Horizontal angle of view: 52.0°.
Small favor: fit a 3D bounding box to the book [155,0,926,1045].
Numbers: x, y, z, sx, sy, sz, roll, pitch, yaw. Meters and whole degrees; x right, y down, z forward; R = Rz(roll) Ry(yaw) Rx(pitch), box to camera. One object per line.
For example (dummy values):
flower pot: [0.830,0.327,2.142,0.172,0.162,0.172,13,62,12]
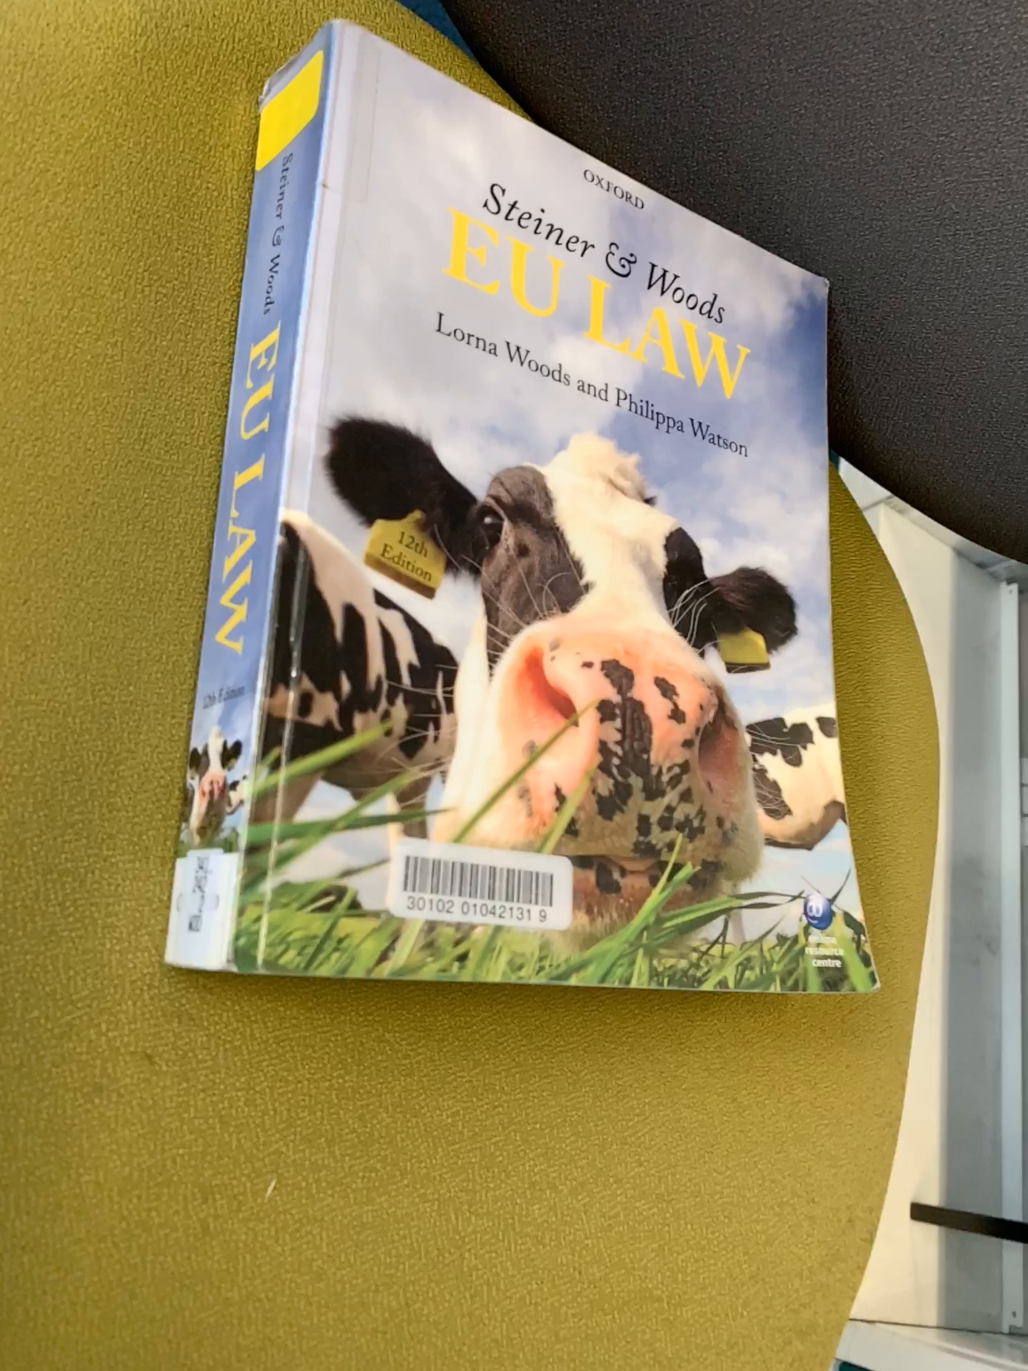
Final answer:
book: [0.020,-0.040,0.299,0.201,0.050,0.261,11,71,-32]
